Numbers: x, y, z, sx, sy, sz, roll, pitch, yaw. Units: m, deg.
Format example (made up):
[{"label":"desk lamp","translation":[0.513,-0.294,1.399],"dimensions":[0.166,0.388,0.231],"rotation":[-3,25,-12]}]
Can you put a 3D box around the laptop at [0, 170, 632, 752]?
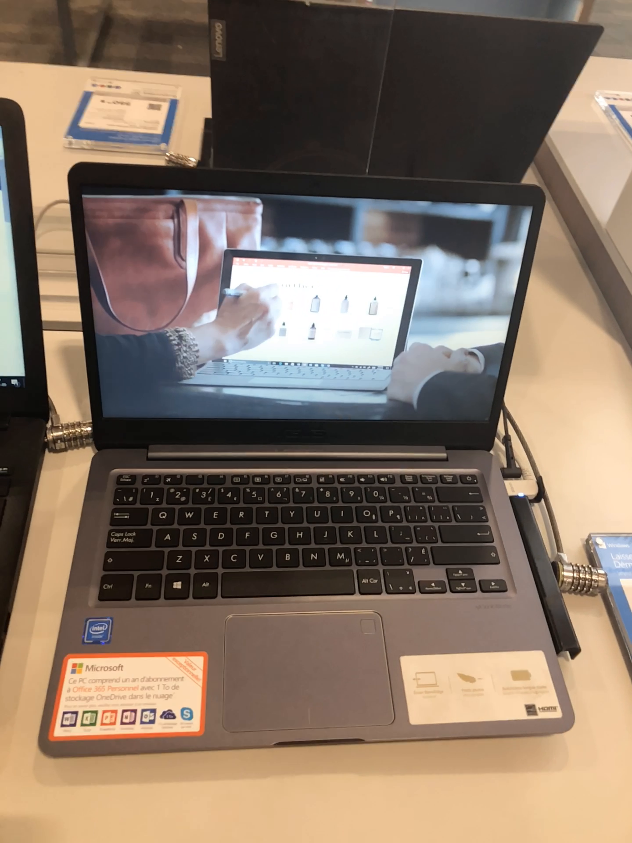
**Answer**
[{"label":"laptop","translation":[0.002,0.013,0.439],"dimensions":[0.316,0.196,0.292],"rotation":[0,49,-7]}]
